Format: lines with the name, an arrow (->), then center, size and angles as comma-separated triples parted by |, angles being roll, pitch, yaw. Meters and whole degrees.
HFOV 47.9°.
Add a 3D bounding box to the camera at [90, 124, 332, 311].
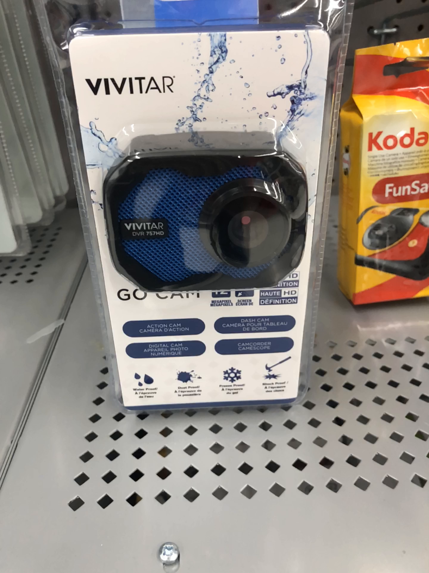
camera -> -0.001, -0.025, 0.169 | 0.070, 0.050, 0.040 | -3, 31, 0
